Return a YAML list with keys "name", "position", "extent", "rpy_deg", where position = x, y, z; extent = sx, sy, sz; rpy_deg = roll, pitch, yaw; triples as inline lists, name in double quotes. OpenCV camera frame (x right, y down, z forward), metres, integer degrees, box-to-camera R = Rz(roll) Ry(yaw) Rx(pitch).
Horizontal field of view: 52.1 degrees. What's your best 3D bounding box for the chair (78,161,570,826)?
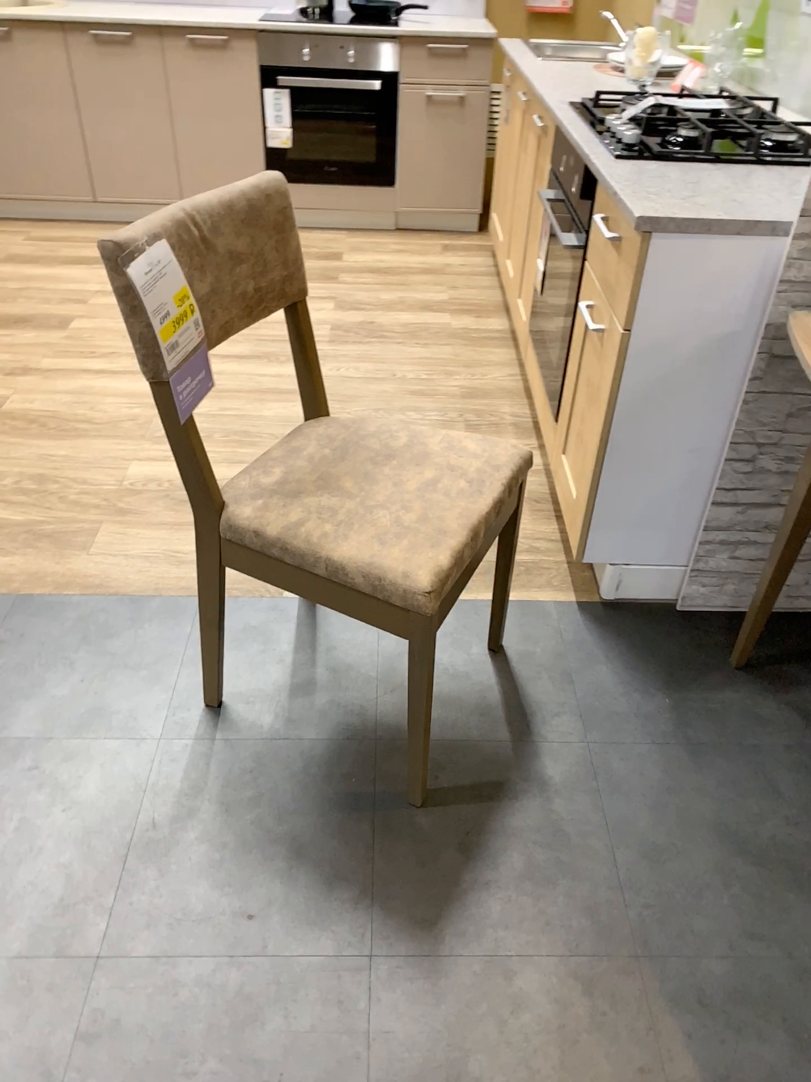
- name: "chair"
  position: [-0.100, -0.076, 1.423]
  extent: [0.510, 0.925, 0.483]
  rpy_deg: [17, 38, 18]
